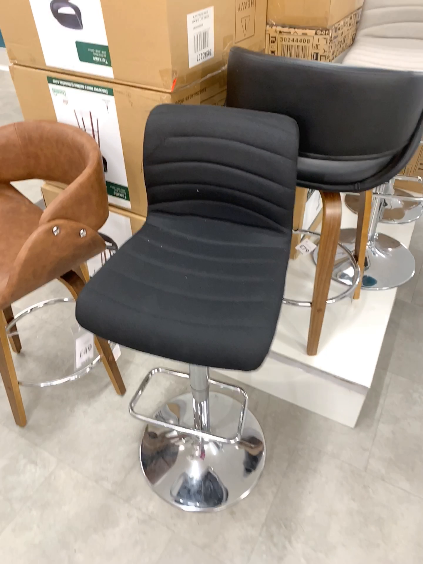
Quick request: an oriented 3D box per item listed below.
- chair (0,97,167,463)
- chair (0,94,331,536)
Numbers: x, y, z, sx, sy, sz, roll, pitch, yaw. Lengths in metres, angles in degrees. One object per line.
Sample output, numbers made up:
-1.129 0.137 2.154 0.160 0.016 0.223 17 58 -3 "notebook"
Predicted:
-0.540 -0.007 1.349 0.526 0.875 0.521 29 48 30 "chair"
-0.034 0.133 1.096 0.454 0.994 0.472 11 41 13 "chair"
